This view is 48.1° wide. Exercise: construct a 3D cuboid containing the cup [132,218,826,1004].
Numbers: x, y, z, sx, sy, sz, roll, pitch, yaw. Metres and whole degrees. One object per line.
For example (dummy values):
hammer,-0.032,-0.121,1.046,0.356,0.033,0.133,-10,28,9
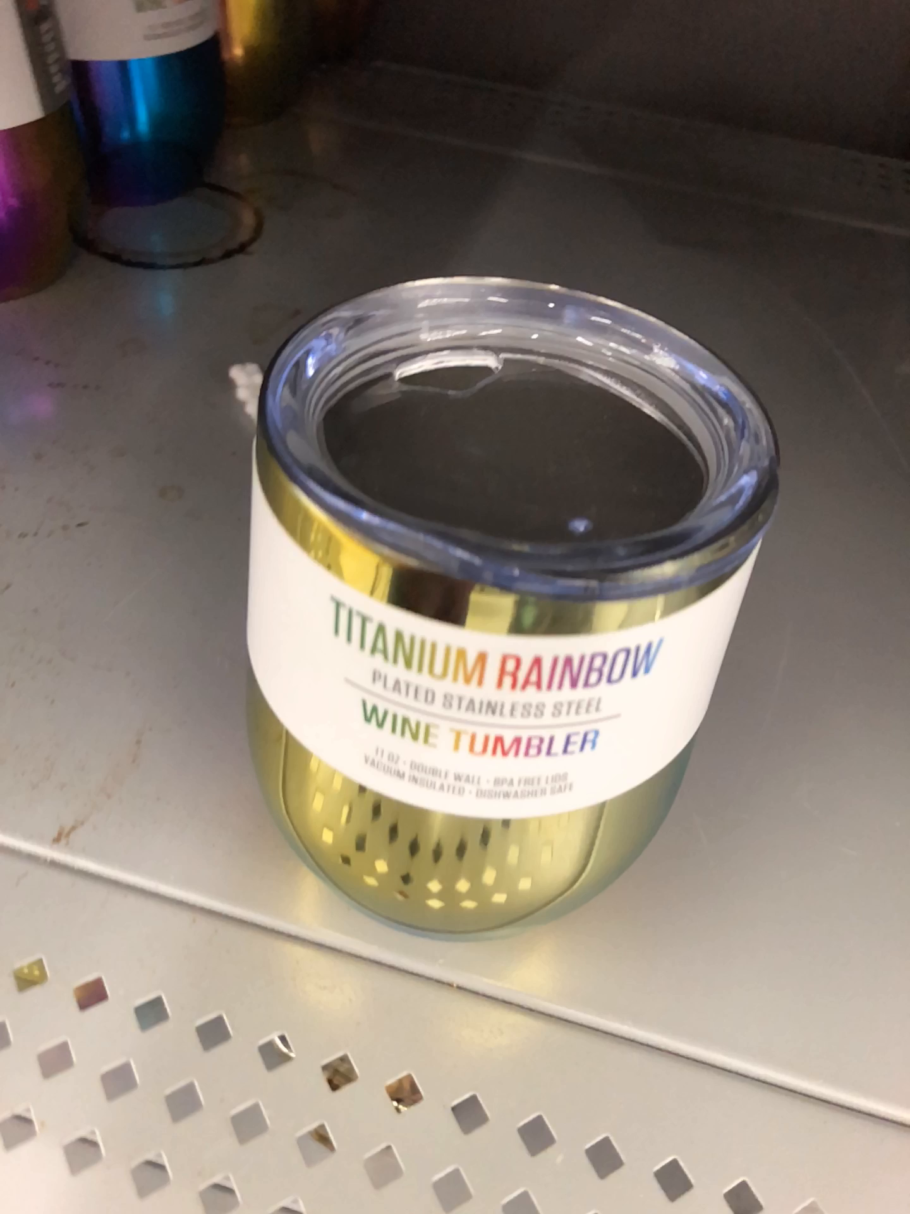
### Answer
cup,0.006,0.005,0.189,0.086,0.108,0.076,13,47,5
